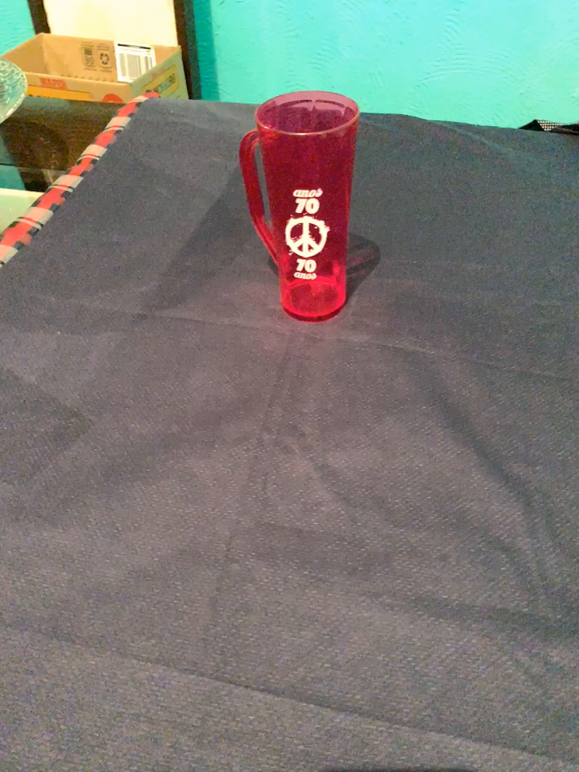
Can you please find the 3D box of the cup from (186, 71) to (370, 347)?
[{"bbox_3d":[-0.004,-0.131,0.456,0.100,0.169,0.070,28,55,26],"label":"cup"}]
